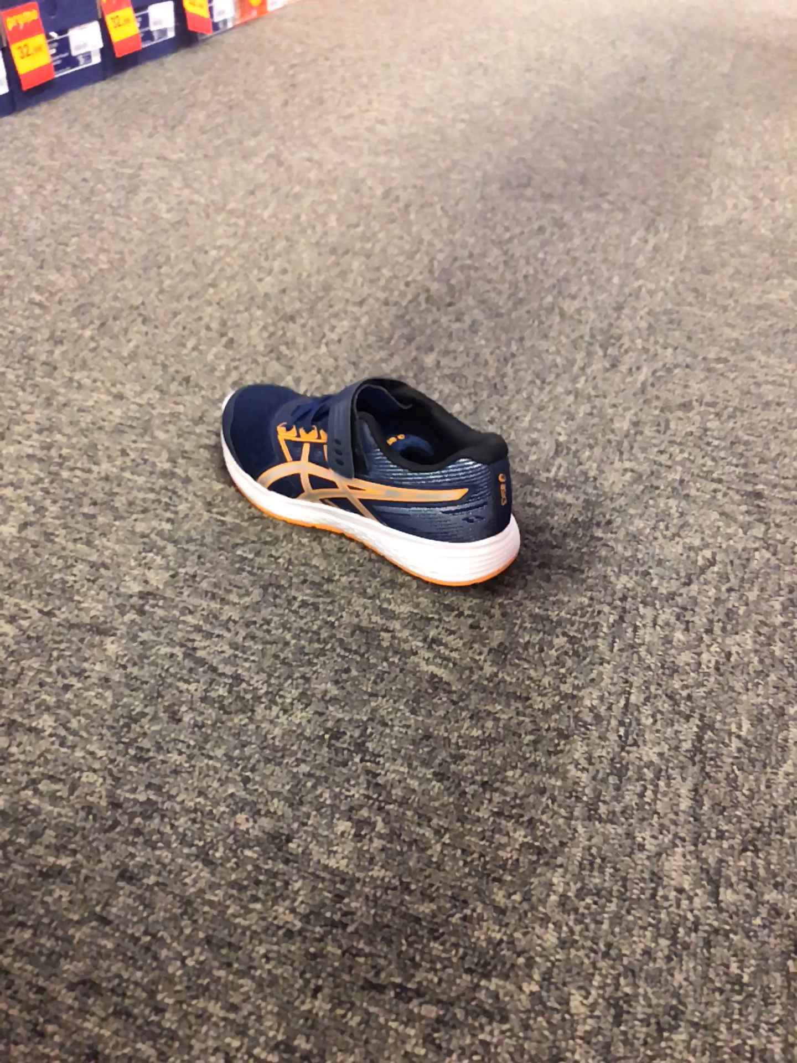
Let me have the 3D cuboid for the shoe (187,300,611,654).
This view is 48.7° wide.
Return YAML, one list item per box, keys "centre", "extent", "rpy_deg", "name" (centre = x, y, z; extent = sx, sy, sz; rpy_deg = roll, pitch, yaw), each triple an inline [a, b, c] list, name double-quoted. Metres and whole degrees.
- centre: [-0.008, -0.043, 0.532]
  extent: [0.235, 0.099, 0.091]
  rpy_deg: [28, 46, 26]
  name: "shoe"
